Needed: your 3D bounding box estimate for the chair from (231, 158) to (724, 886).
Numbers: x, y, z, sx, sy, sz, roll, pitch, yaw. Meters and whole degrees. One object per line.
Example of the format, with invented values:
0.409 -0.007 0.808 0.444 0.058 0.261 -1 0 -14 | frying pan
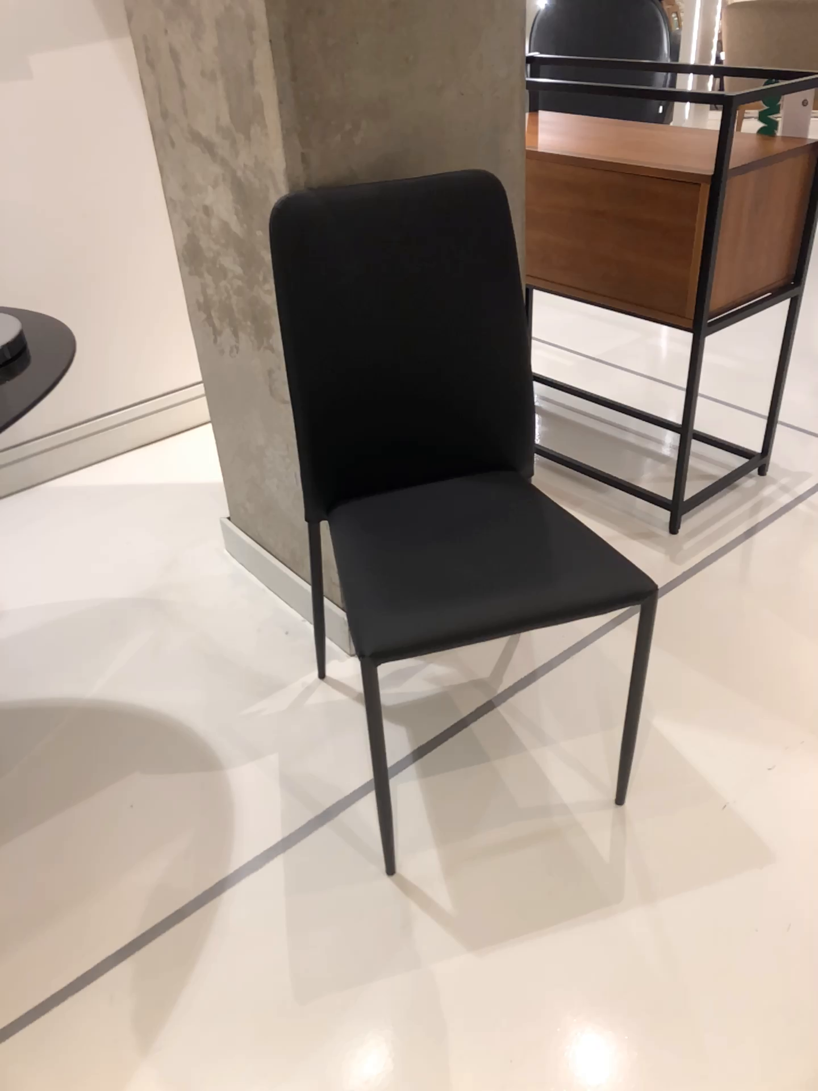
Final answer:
0.066 -0.045 1.368 0.470 0.883 0.544 -11 34 -10 | chair
